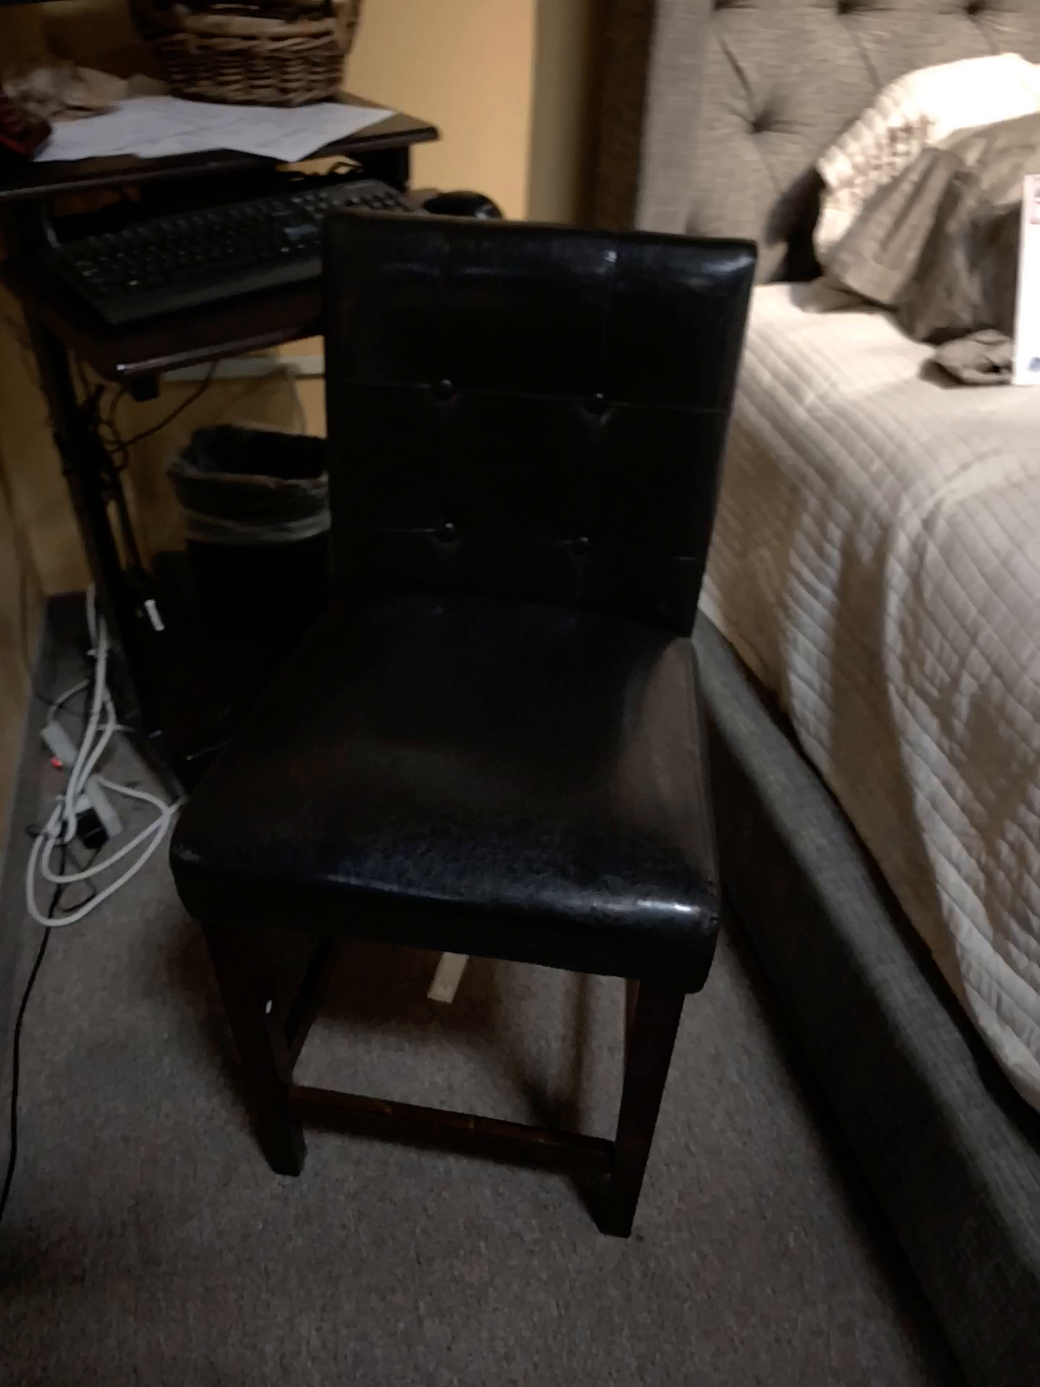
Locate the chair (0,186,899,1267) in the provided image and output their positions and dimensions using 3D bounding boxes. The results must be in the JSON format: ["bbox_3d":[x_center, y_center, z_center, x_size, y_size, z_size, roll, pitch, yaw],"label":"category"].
[{"bbox_3d":[-0.049,0.064,1.091,0.558,0.912,0.520,7,39,6],"label":"chair"}]
